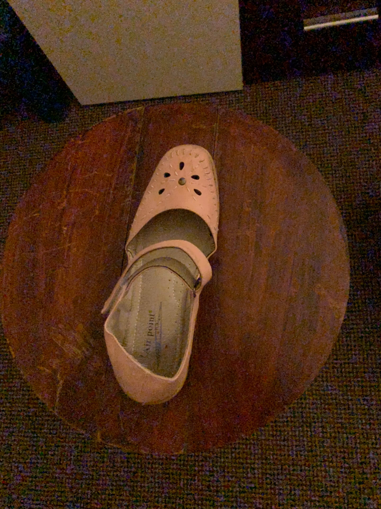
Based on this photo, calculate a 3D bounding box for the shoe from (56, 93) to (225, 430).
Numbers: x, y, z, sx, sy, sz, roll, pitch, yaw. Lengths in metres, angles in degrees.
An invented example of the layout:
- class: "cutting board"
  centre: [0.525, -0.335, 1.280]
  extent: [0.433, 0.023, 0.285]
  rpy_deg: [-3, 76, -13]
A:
- class: "shoe"
  centre: [-0.032, 0.001, 0.360]
  extent: [0.101, 0.092, 0.272]
  rpy_deg: [2, 76, 11]
